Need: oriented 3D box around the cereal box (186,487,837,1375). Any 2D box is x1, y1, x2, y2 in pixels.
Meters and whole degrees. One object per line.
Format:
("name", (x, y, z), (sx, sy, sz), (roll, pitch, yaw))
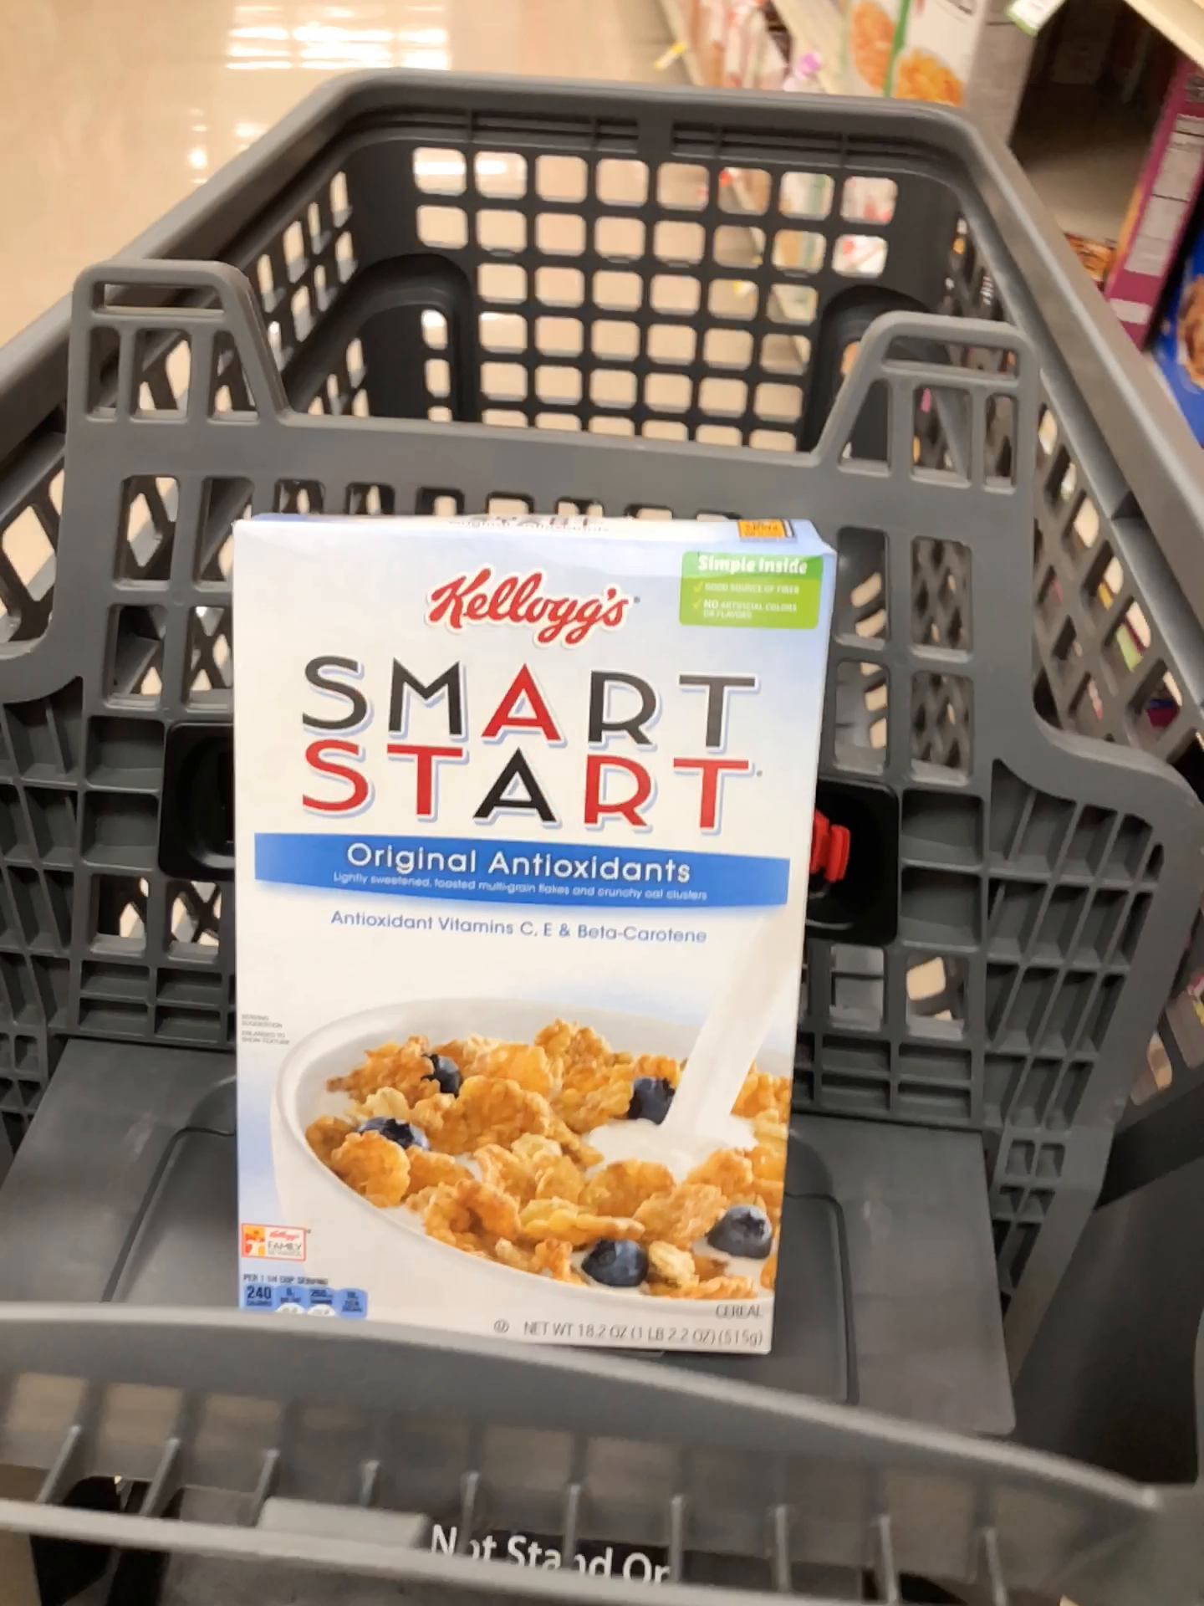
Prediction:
("cereal box", (-0.034, 0.046, 0.476), (0.200, 0.300, 0.070), (3, 13, 1))
